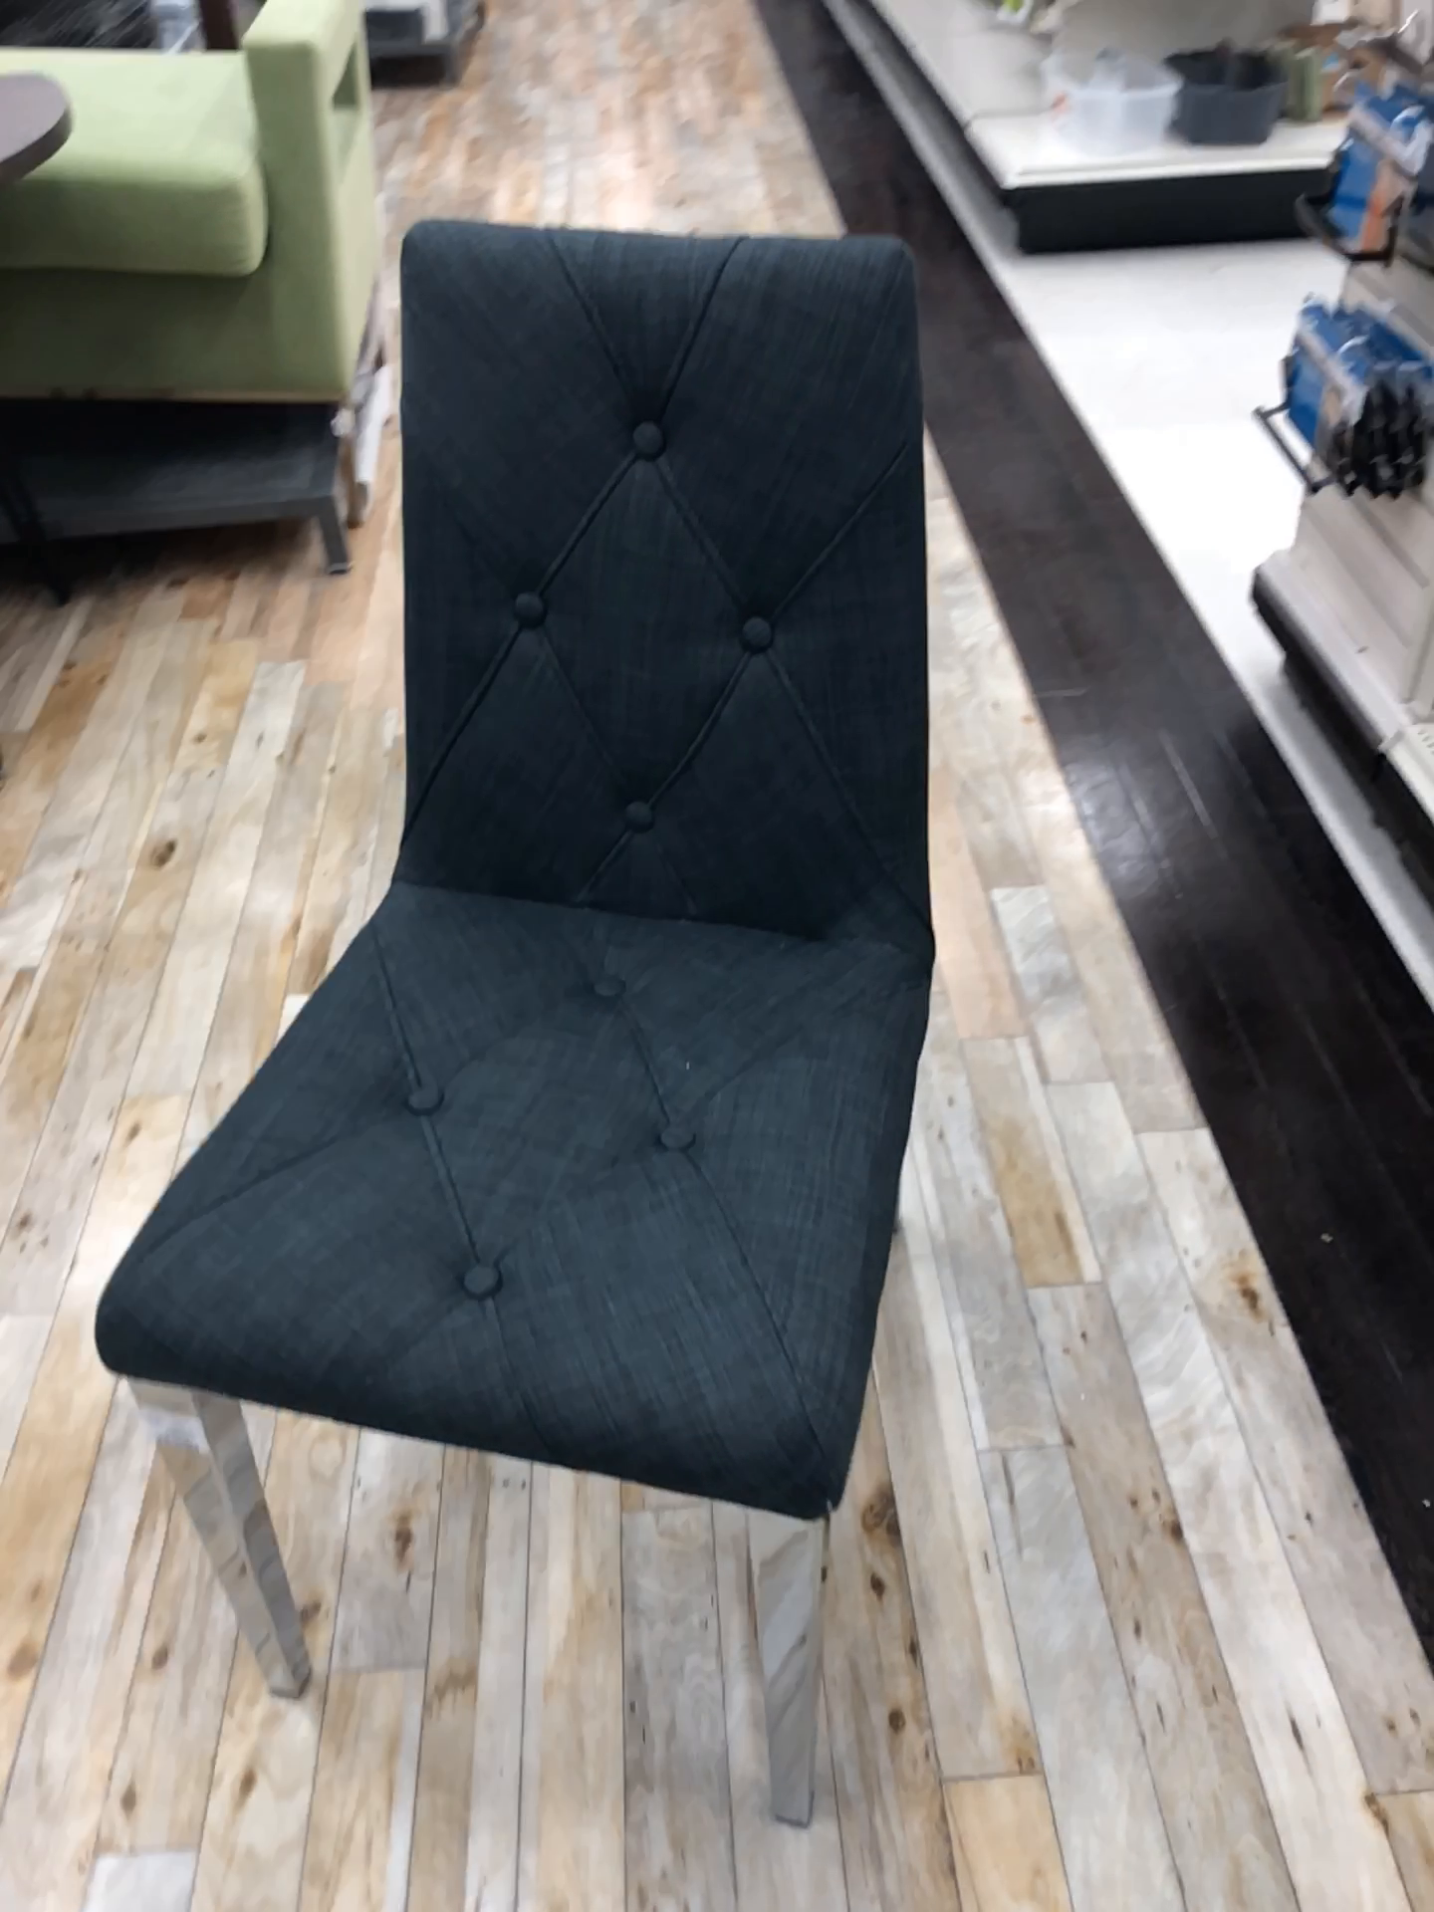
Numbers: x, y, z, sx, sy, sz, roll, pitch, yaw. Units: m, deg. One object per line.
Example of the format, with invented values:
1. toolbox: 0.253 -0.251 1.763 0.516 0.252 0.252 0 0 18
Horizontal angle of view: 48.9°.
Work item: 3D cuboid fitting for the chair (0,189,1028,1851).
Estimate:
1. chair: -0.092 0.050 1.033 0.450 0.867 0.582 8 41 12
